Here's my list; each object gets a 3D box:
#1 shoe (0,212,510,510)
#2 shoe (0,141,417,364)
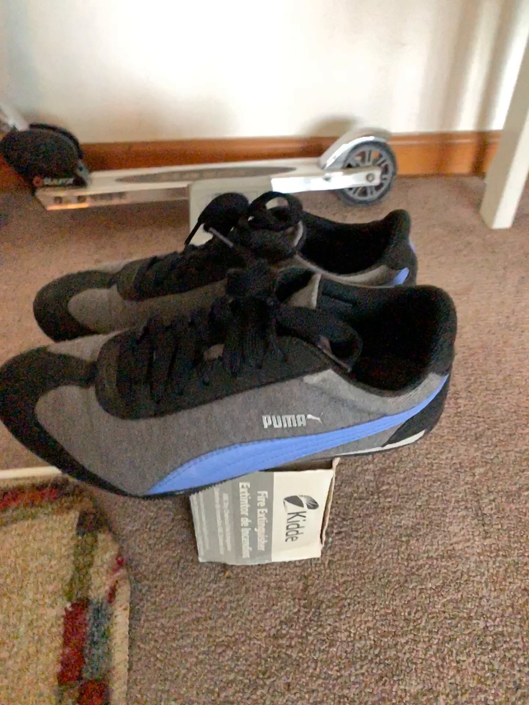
[{"bbox_3d":[-0.021,0.001,0.291,0.240,0.099,0.101,-4,42,-3],"label":"shoe"},{"bbox_3d":[-0.036,-0.068,0.354,0.230,0.089,0.101,-4,42,-3],"label":"shoe"}]
